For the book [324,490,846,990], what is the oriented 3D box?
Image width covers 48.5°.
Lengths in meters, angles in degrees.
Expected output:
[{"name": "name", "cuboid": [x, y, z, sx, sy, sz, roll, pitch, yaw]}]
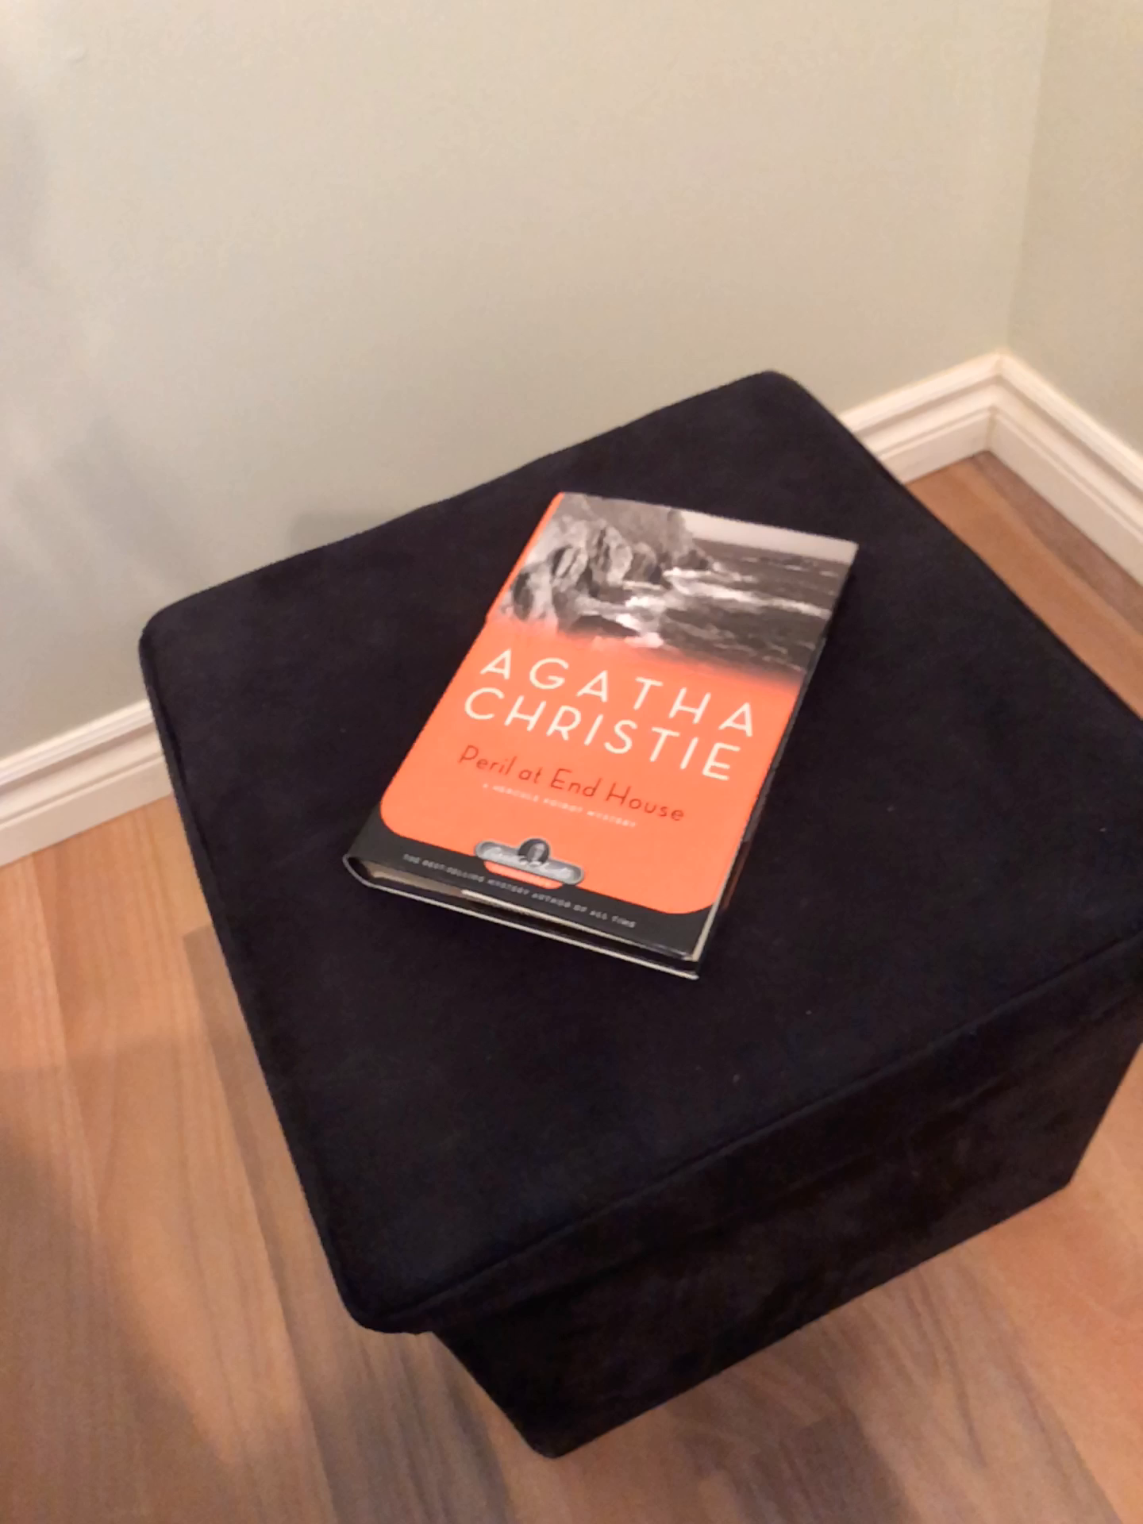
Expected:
[{"name": "book", "cuboid": [0.014, -0.022, 0.521, 0.146, 0.030, 0.206, 13, 56, 20]}]
